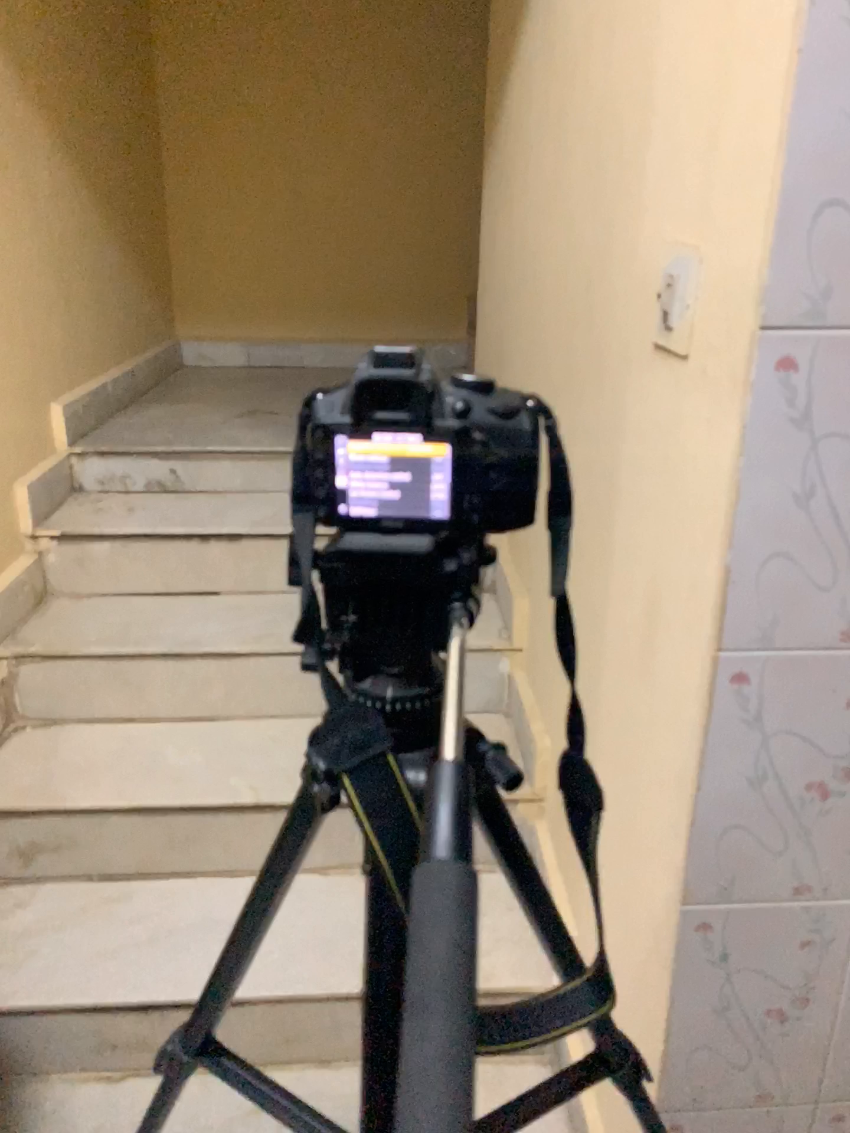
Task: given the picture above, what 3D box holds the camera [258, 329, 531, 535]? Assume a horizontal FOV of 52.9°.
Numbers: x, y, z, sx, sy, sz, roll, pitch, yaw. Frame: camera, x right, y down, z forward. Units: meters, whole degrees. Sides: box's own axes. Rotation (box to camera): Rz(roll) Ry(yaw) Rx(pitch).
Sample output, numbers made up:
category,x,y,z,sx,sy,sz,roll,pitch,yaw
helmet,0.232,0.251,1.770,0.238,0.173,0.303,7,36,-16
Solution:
category,x,y,z,sx,sy,sz,roll,pitch,yaw
camera,-0.012,-0.084,0.492,0.134,0.090,0.130,3,20,4
